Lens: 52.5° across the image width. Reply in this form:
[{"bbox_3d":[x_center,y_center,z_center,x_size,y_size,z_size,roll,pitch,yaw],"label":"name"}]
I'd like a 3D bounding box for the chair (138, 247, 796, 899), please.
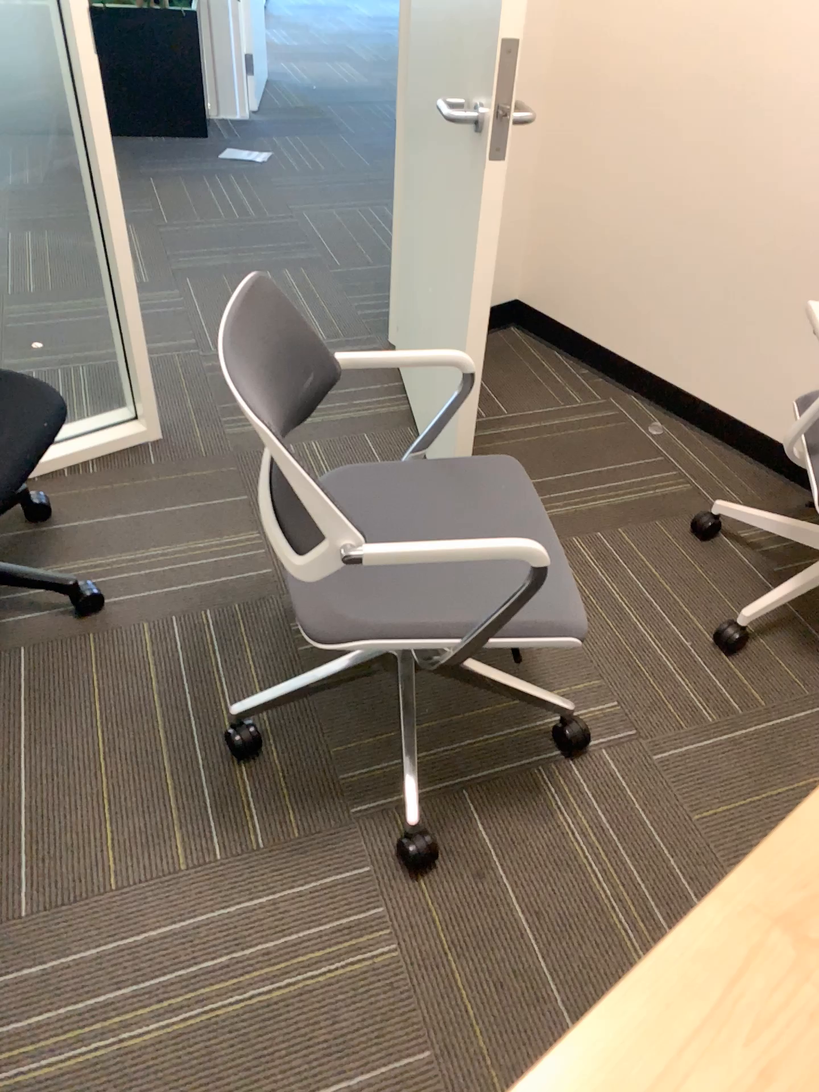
[{"bbox_3d":[0.013,0.012,1.457,0.730,0.766,0.805,-2,41,-7],"label":"chair"}]
